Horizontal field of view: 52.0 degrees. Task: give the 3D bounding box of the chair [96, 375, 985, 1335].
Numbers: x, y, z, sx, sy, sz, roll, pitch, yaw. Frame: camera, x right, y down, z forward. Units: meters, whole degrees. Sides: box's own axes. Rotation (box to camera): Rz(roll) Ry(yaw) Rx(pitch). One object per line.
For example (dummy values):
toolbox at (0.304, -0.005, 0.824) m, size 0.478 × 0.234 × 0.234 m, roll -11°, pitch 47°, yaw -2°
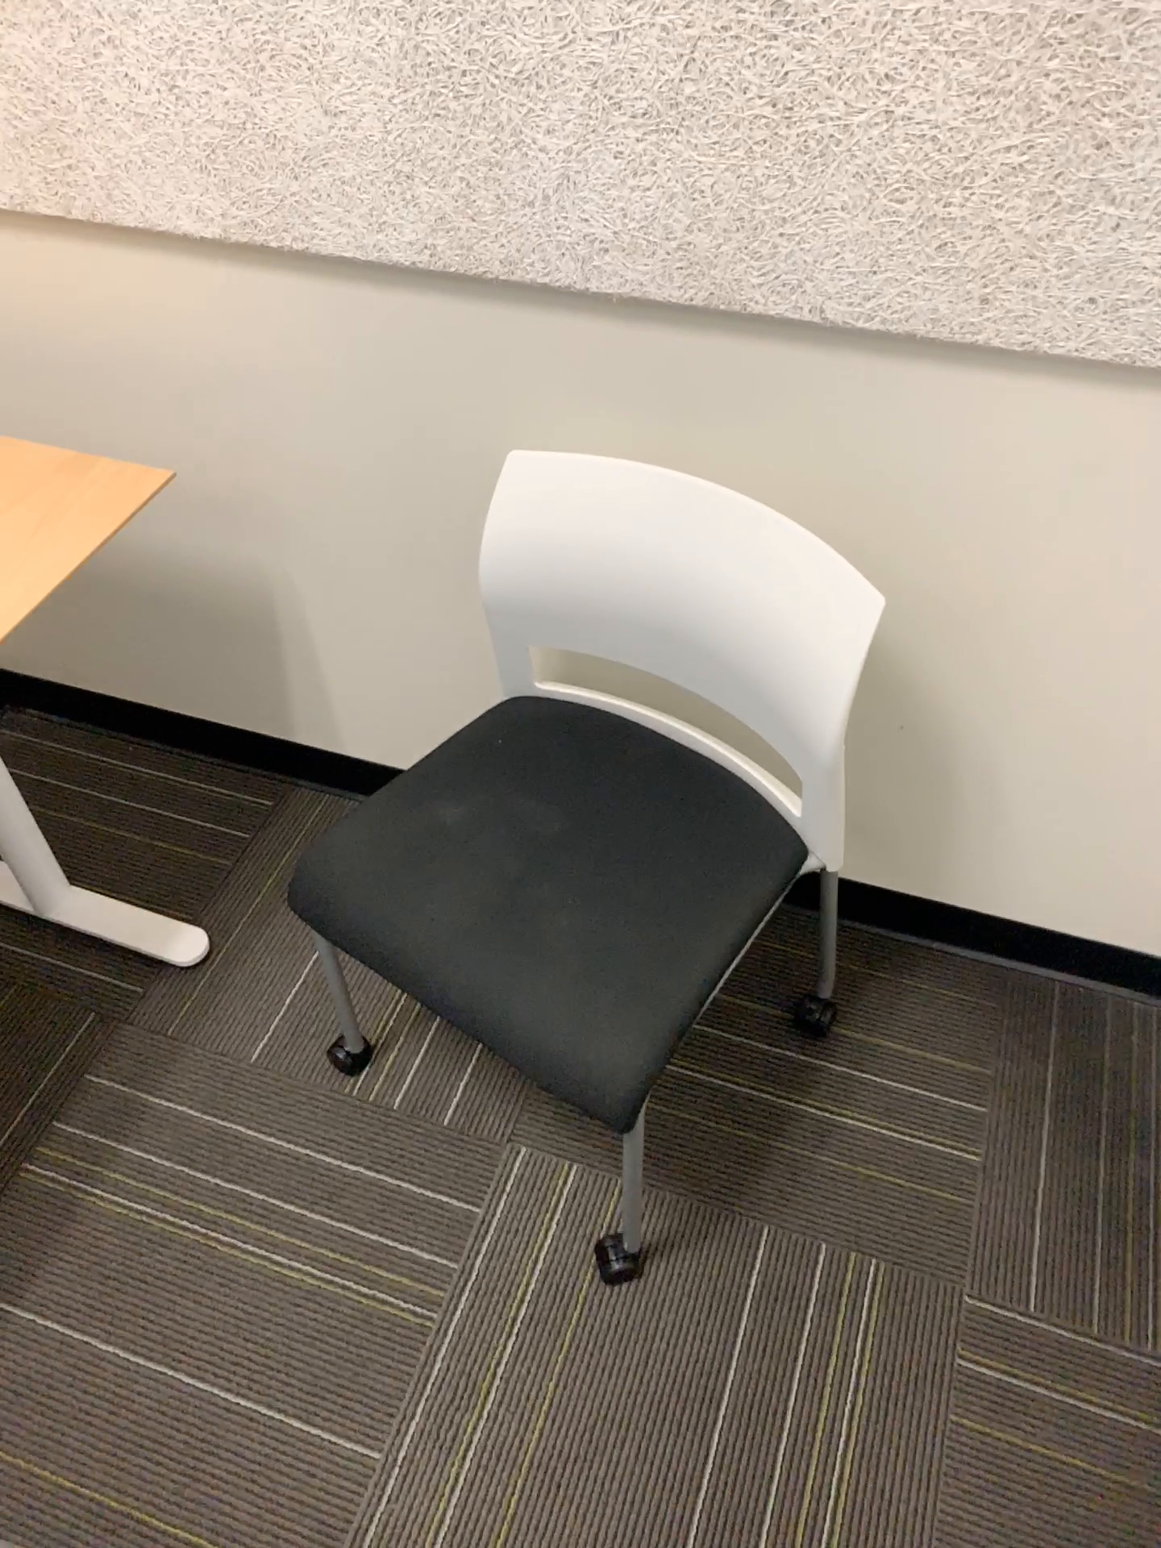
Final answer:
chair at (-0.011, 0.093, 1.439) m, size 0.622 × 0.776 × 0.622 m, roll 25°, pitch 52°, yaw 23°
